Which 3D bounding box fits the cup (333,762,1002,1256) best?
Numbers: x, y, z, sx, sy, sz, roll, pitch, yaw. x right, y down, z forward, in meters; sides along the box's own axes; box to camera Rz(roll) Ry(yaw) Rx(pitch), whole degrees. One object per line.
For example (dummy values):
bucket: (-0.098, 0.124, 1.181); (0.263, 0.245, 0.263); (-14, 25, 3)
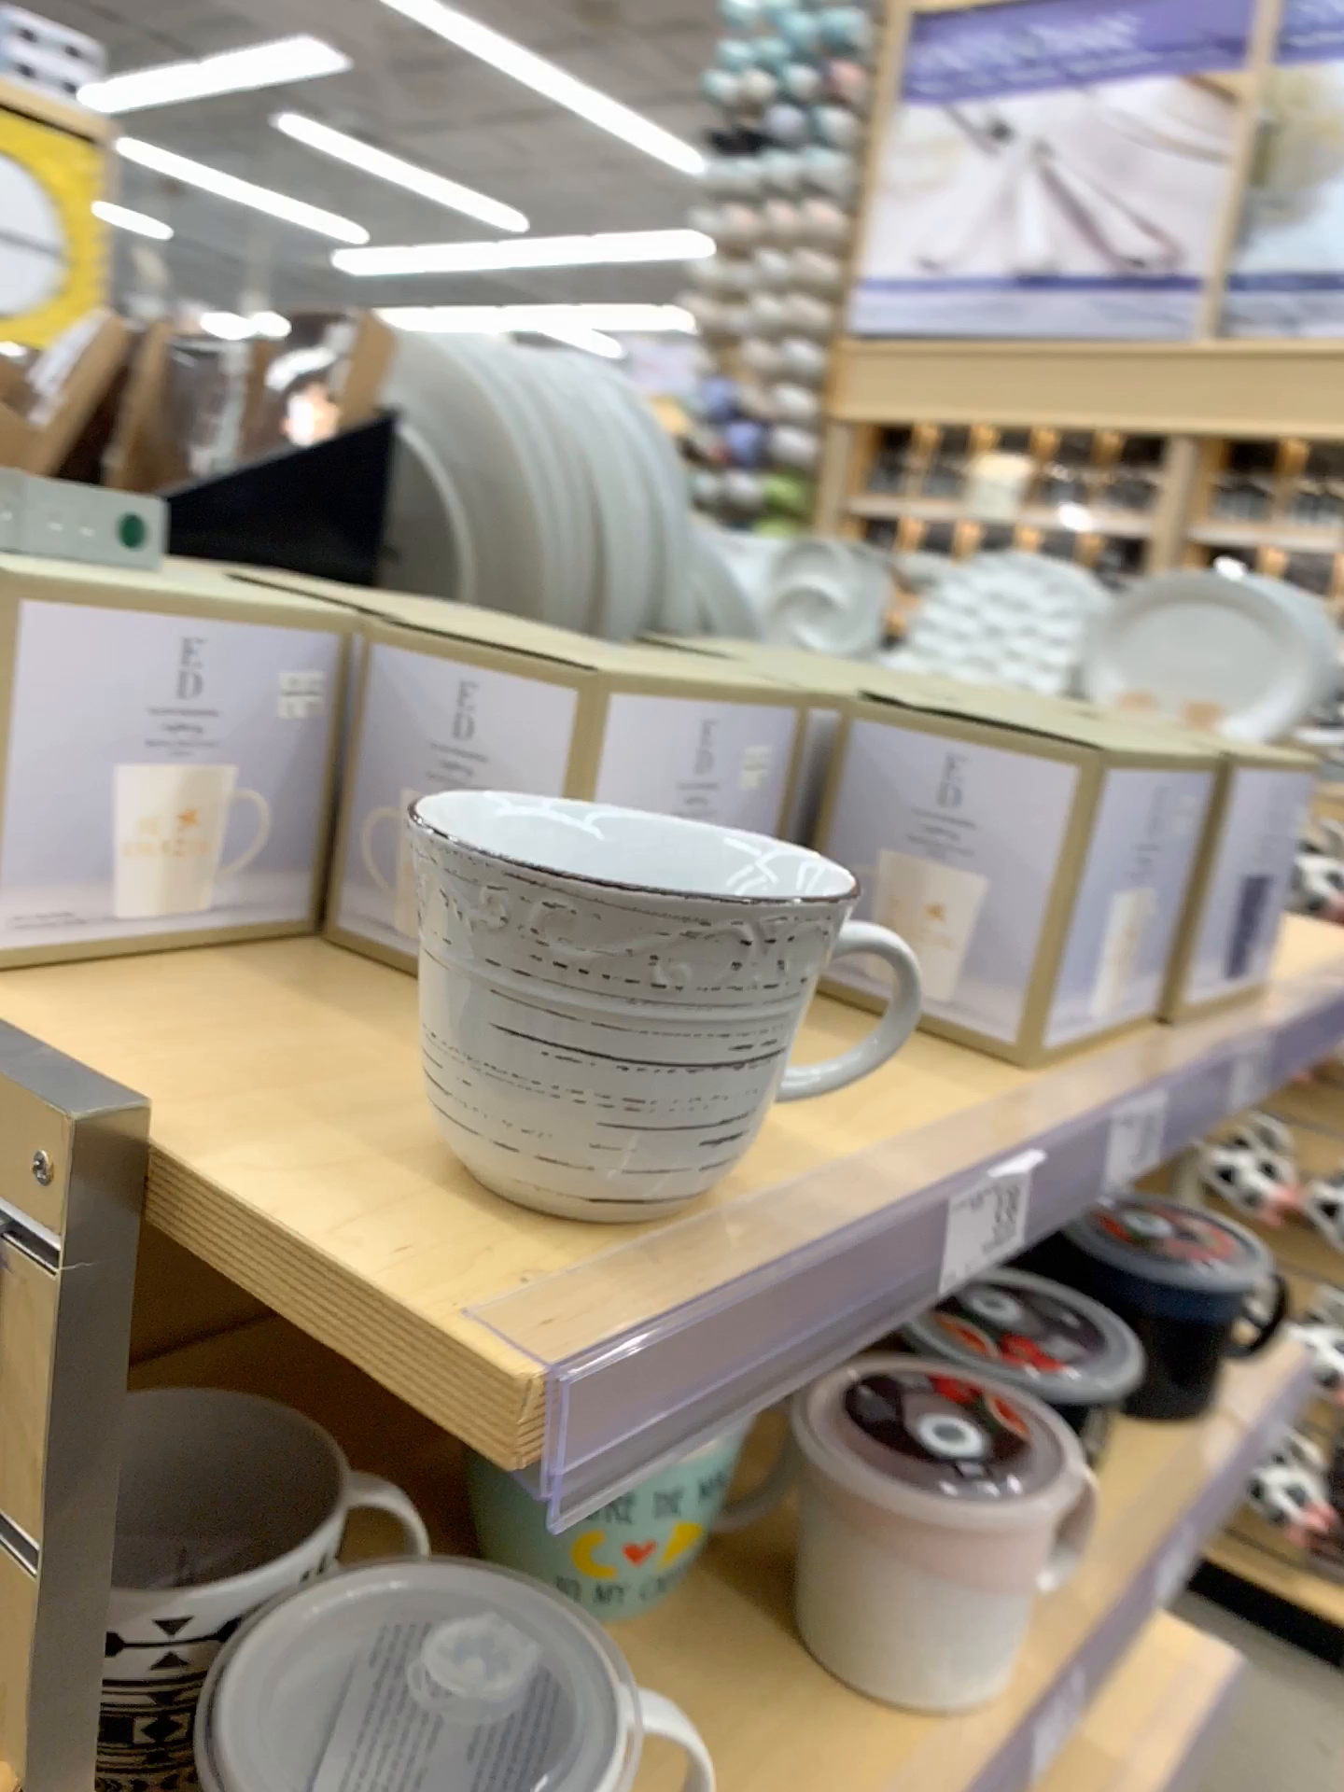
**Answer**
cup: (-0.006, 0.020, 0.334); (0.124, 0.075, 0.114); (8, 11, -2)
